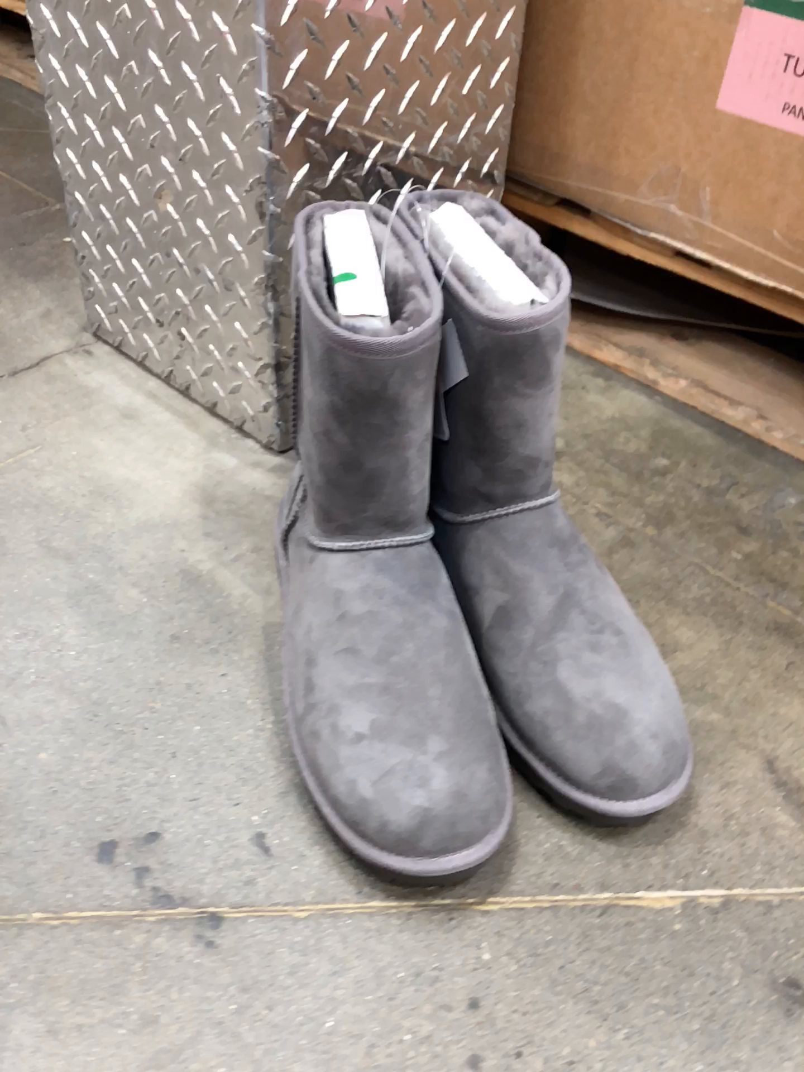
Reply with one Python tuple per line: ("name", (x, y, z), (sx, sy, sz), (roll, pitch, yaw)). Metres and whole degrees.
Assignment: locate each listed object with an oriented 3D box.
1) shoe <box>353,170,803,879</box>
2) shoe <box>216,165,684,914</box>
("shoe", (0.077, -0.018, 0.468), (0.110, 0.239, 0.271), (-14, 44, -19))
("shoe", (-0.010, -0.013, 0.449), (0.120, 0.239, 0.281), (-7, 42, -13))
